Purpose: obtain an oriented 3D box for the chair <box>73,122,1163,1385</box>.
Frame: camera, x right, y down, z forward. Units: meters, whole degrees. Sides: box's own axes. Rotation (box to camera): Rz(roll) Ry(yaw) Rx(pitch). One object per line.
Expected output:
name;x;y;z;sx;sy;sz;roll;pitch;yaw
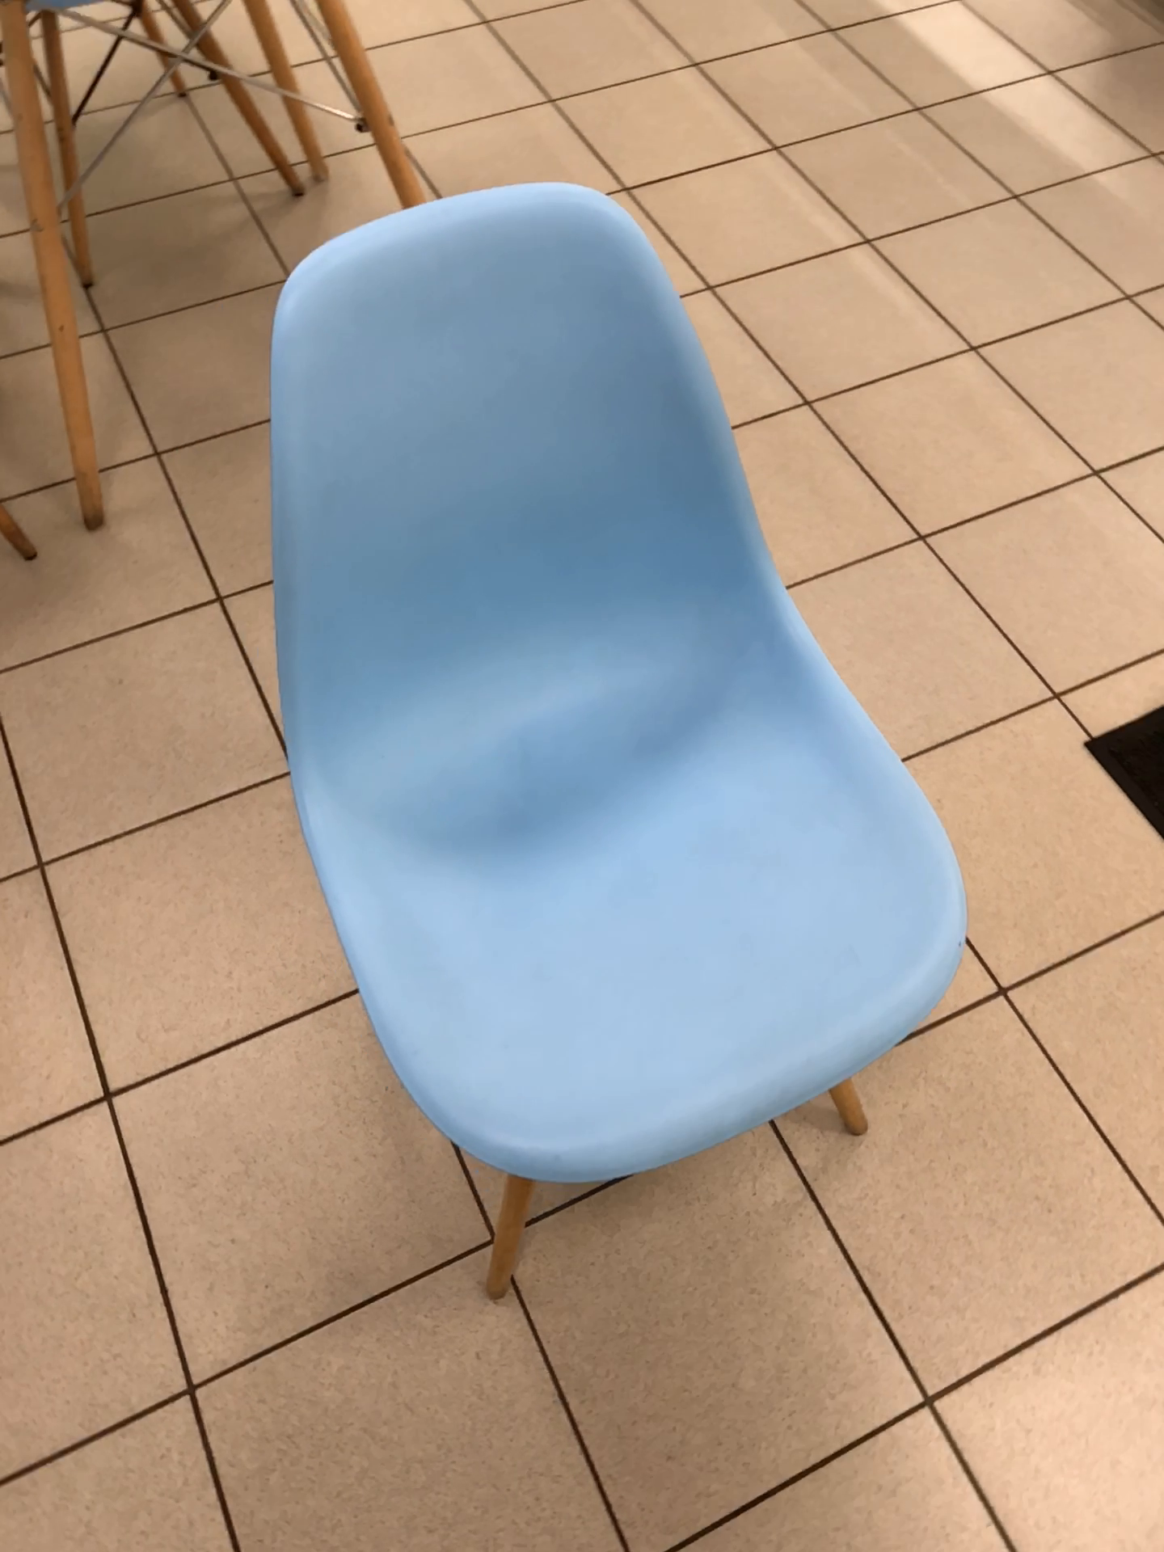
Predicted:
chair;0.009;0.043;1.036;0.470;0.777;0.572;-21;60;-15
